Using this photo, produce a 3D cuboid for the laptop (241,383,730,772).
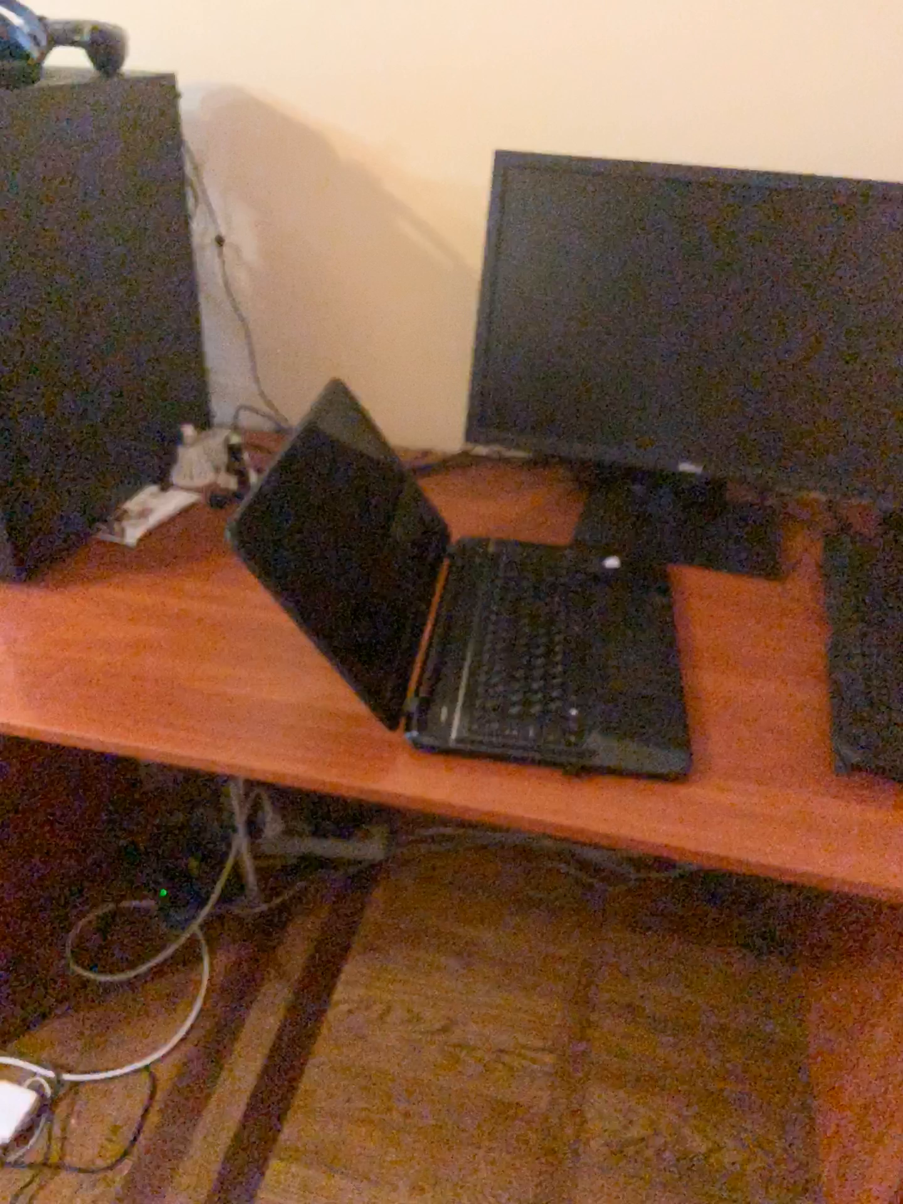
[{"bbox_3d":[0.040,-0.052,0.893,0.368,0.181,0.368,5,32,7],"label":"laptop"}]
